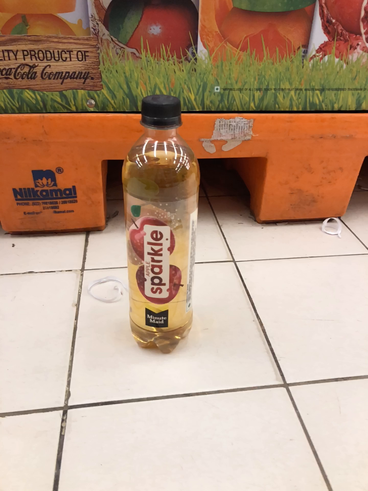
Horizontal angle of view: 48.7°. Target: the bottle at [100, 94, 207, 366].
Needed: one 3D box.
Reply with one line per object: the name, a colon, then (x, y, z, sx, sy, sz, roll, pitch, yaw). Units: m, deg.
bottle: (-0.023, -0.004, 0.371, 0.070, 0.238, 0.071, 1, 32, -1)
